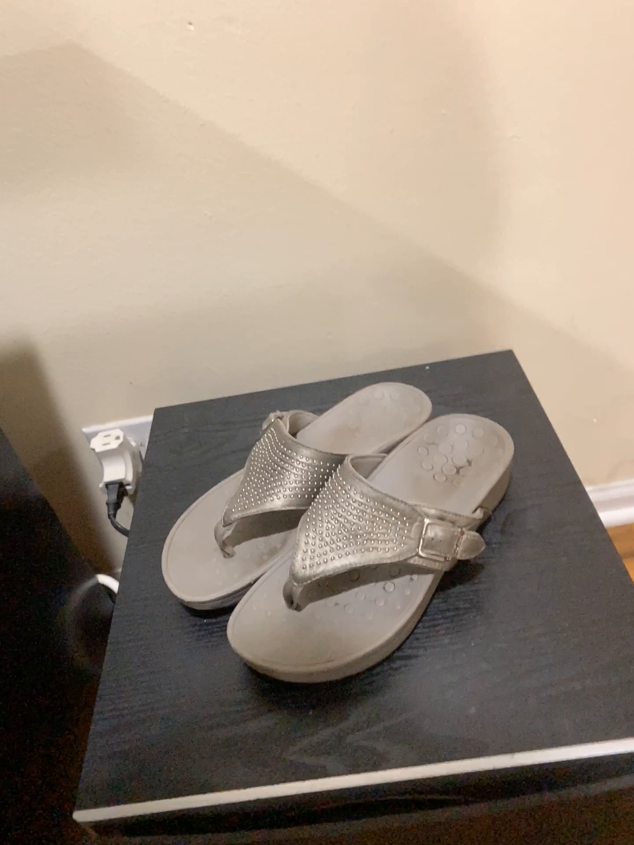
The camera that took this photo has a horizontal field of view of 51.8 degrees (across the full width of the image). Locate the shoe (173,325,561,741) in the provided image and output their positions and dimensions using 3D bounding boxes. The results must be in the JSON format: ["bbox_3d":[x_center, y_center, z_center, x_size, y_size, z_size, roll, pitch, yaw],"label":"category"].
[{"bbox_3d":[0.046,0.048,0.414,0.108,0.080,0.248,22,51,33],"label":"shoe"}]

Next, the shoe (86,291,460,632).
[{"bbox_3d":[-0.017,0.012,0.469,0.248,0.080,0.108,-38,47,-27],"label":"shoe"}]
